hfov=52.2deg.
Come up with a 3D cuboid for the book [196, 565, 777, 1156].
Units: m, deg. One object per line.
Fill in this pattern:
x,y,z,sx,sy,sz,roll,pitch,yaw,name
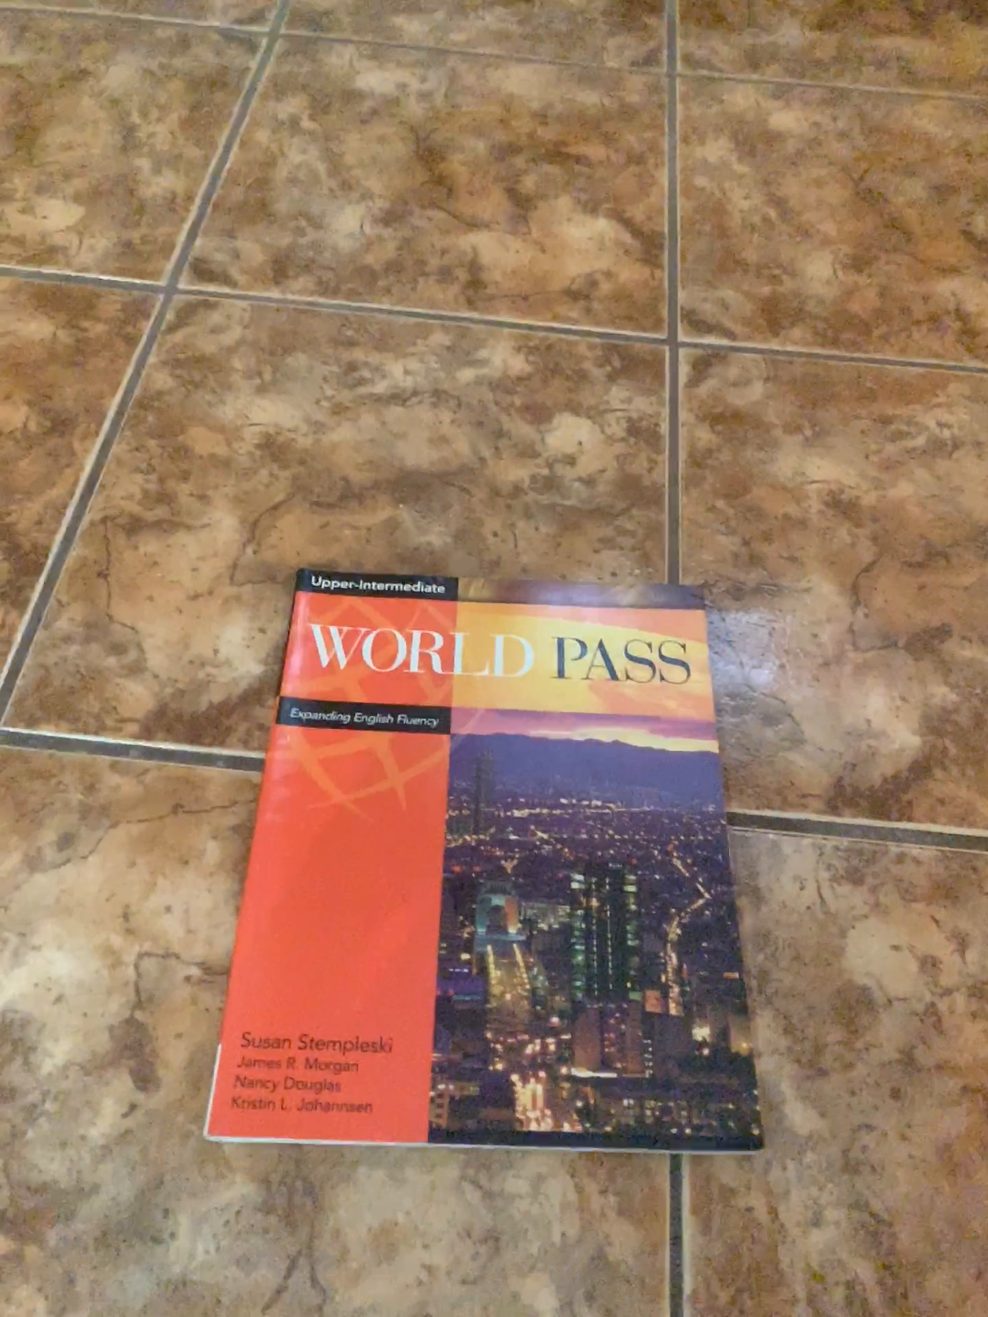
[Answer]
0.000,0.073,0.461,0.219,0.016,0.272,2,56,-2,book
